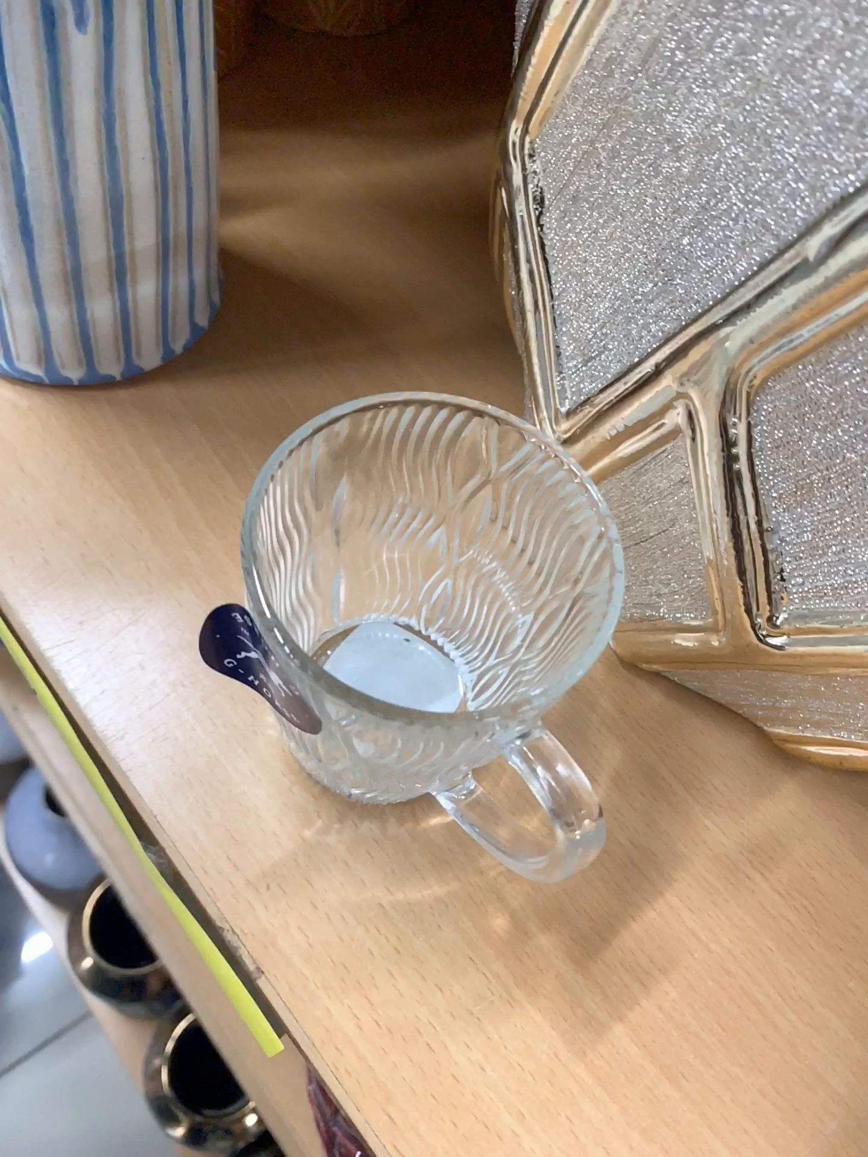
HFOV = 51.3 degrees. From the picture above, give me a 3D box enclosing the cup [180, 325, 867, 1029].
[{"bbox_3d":[0.009,0.019,0.181,0.070,0.070,0.100,-32,72,-28],"label":"cup"}]
